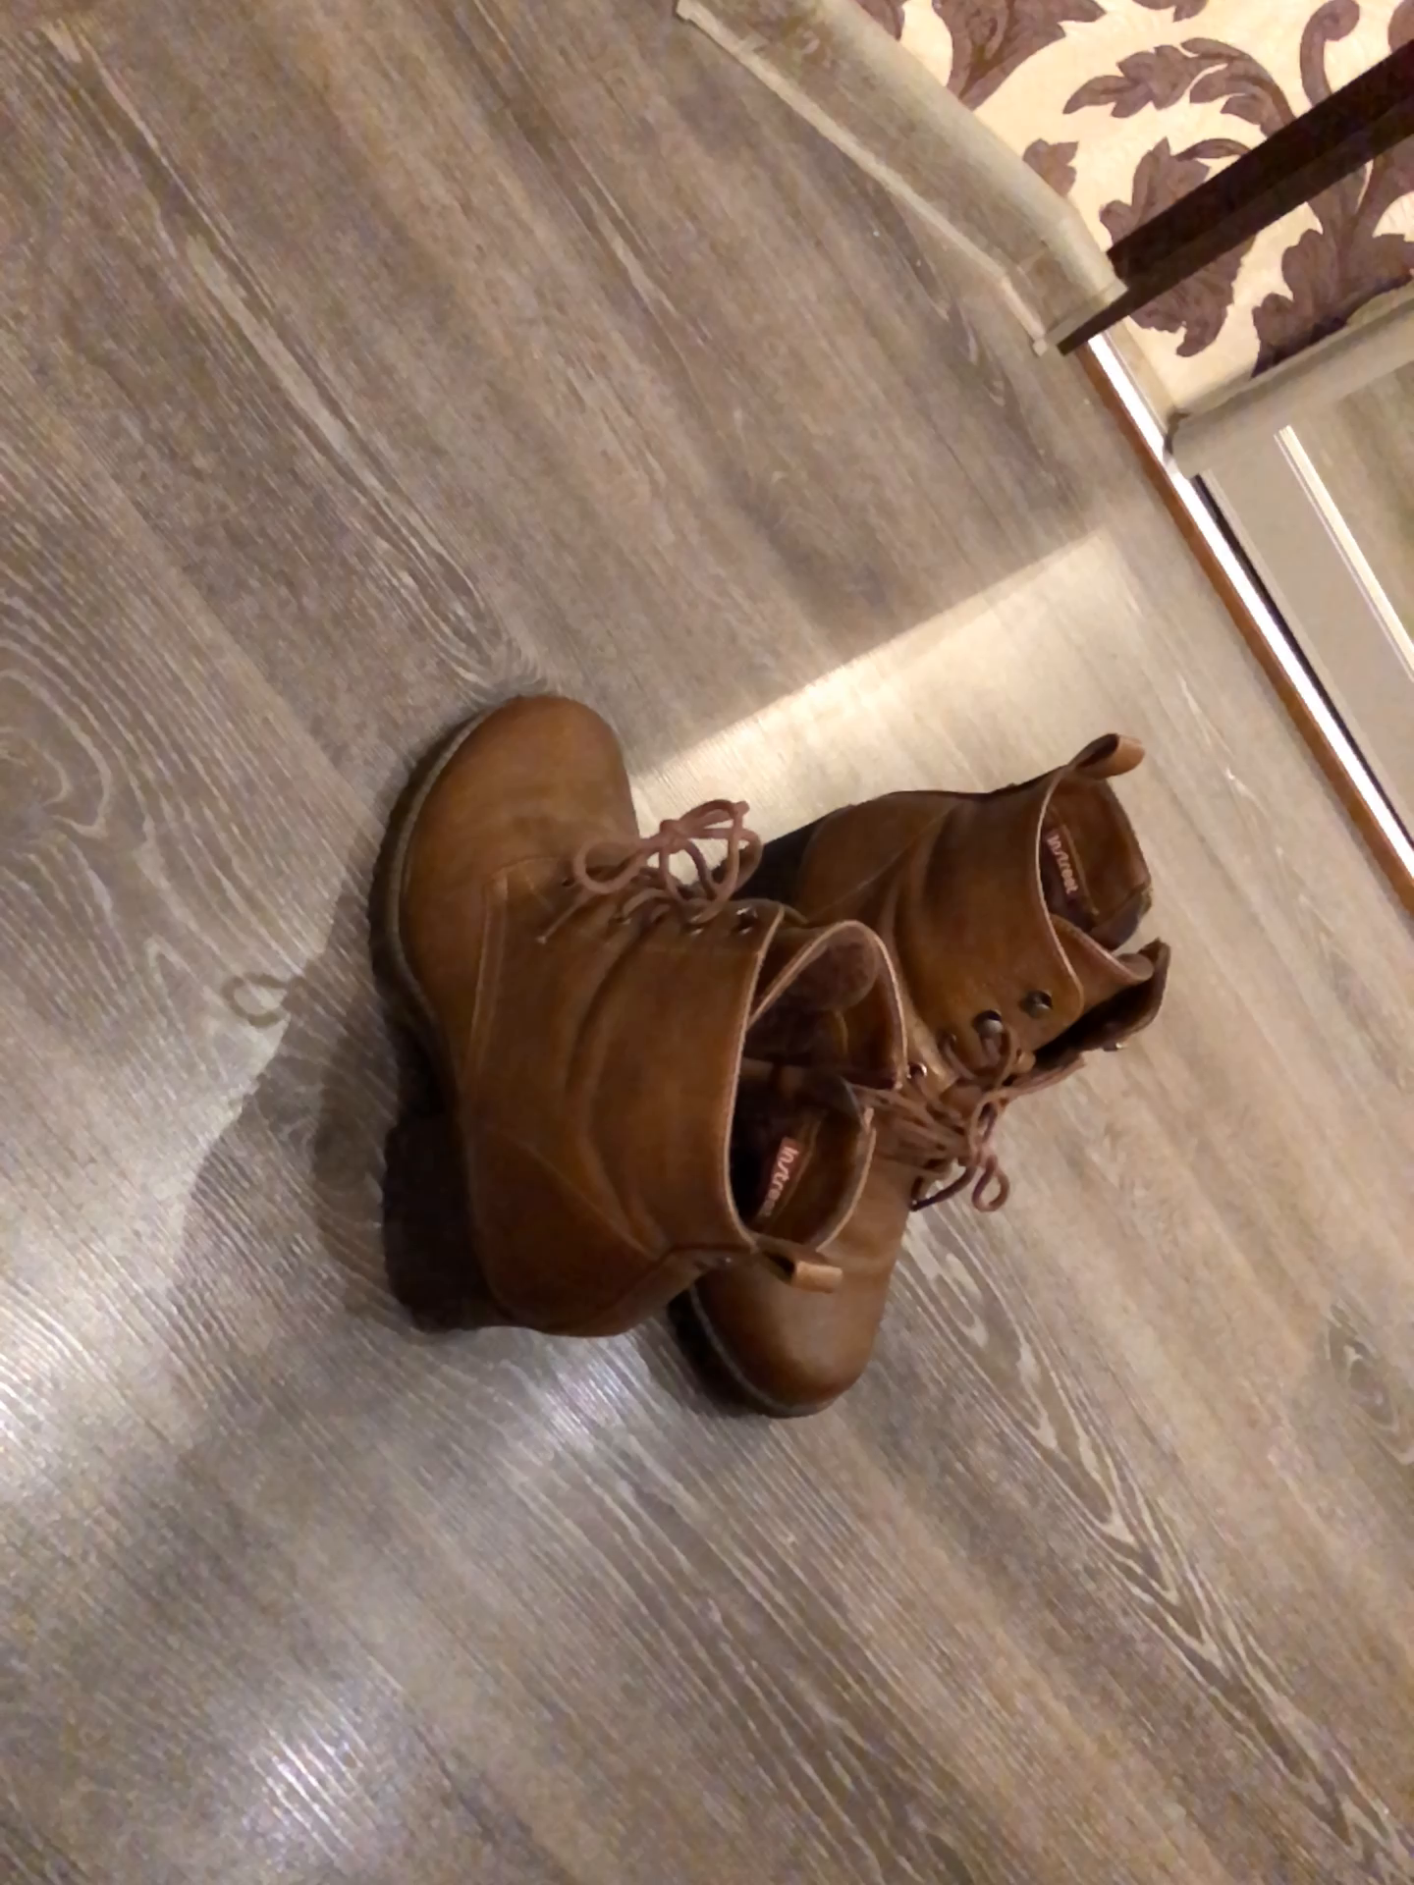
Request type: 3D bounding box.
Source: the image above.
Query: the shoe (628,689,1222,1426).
[{"bbox_3d":[0.075,0.055,0.563,0.090,0.189,0.220,21,64,-33],"label":"shoe"}]

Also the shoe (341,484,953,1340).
[{"bbox_3d":[-0.023,0.007,0.491,0.100,0.169,0.220,14,68,-35],"label":"shoe"}]
